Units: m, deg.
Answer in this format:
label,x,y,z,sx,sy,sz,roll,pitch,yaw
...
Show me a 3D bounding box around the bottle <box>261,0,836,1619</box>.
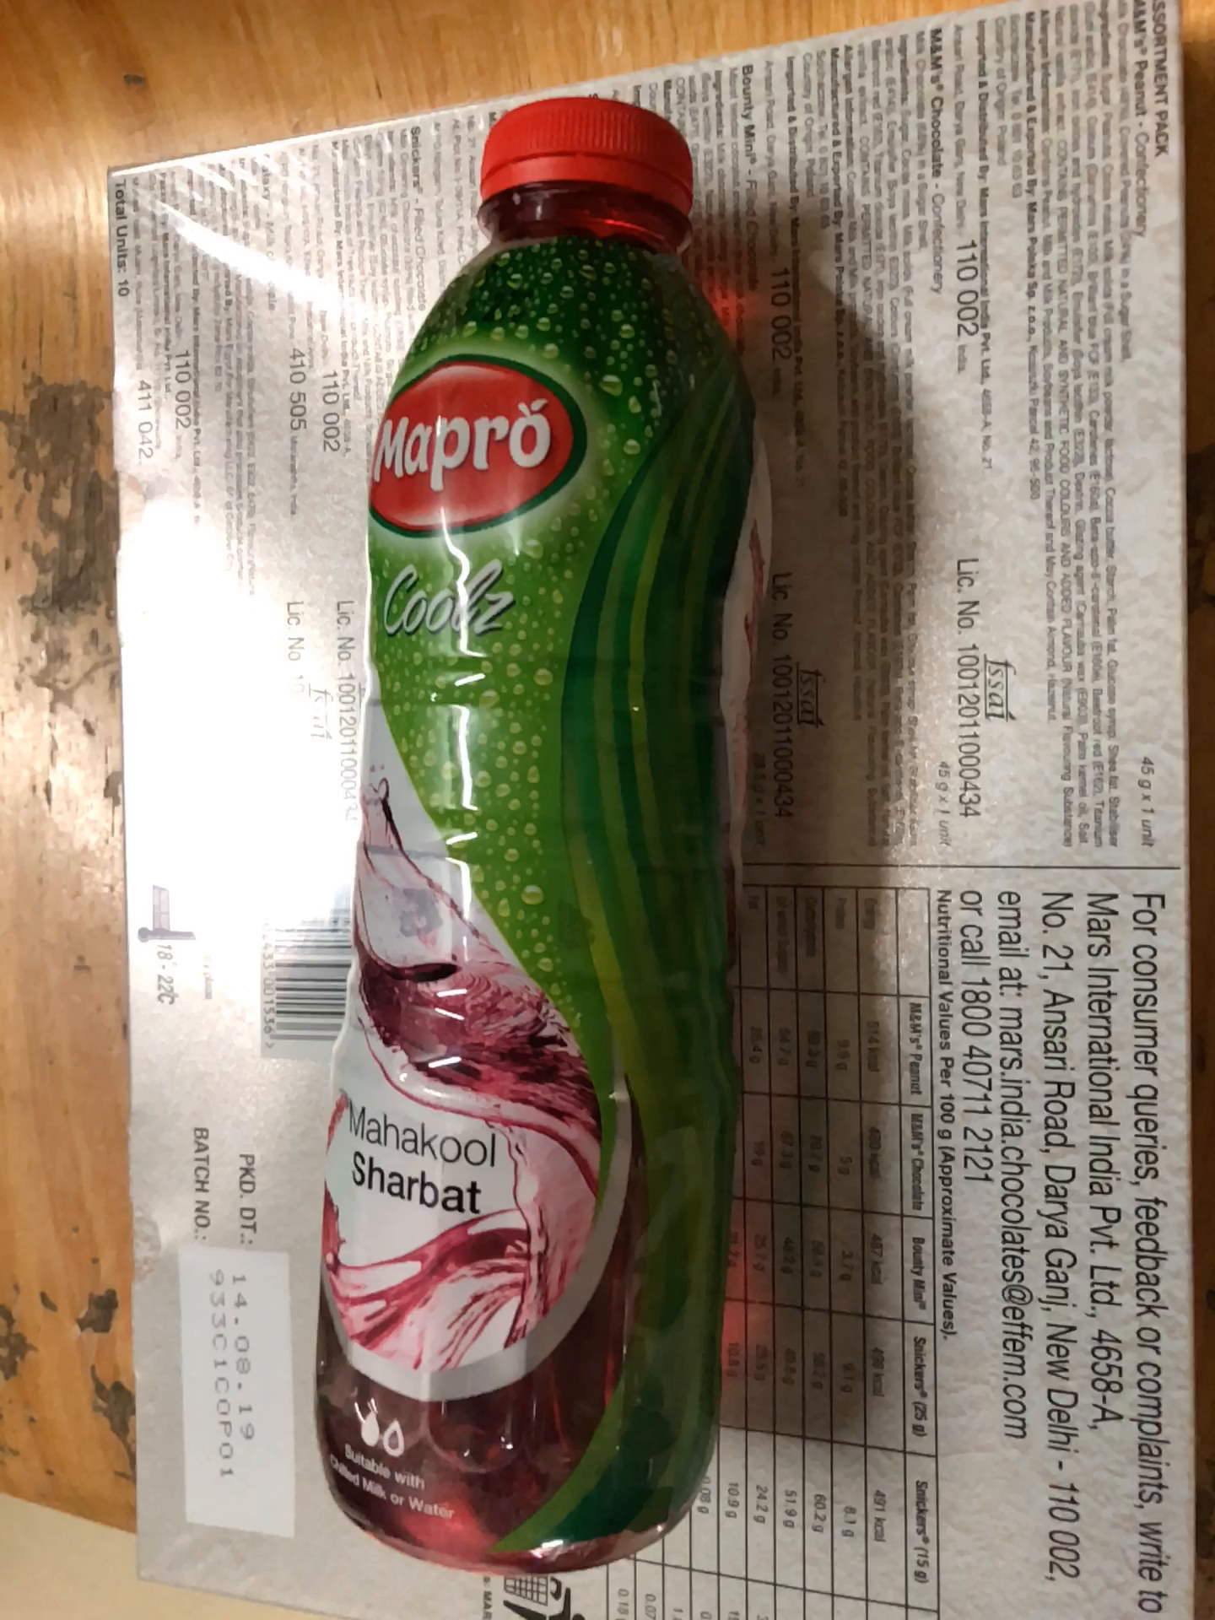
label,x,y,z,sx,sy,sz,roll,pitch,yaw
bottle,-0.012,0.004,0.262,0.080,0.060,0.280,5,94,31
